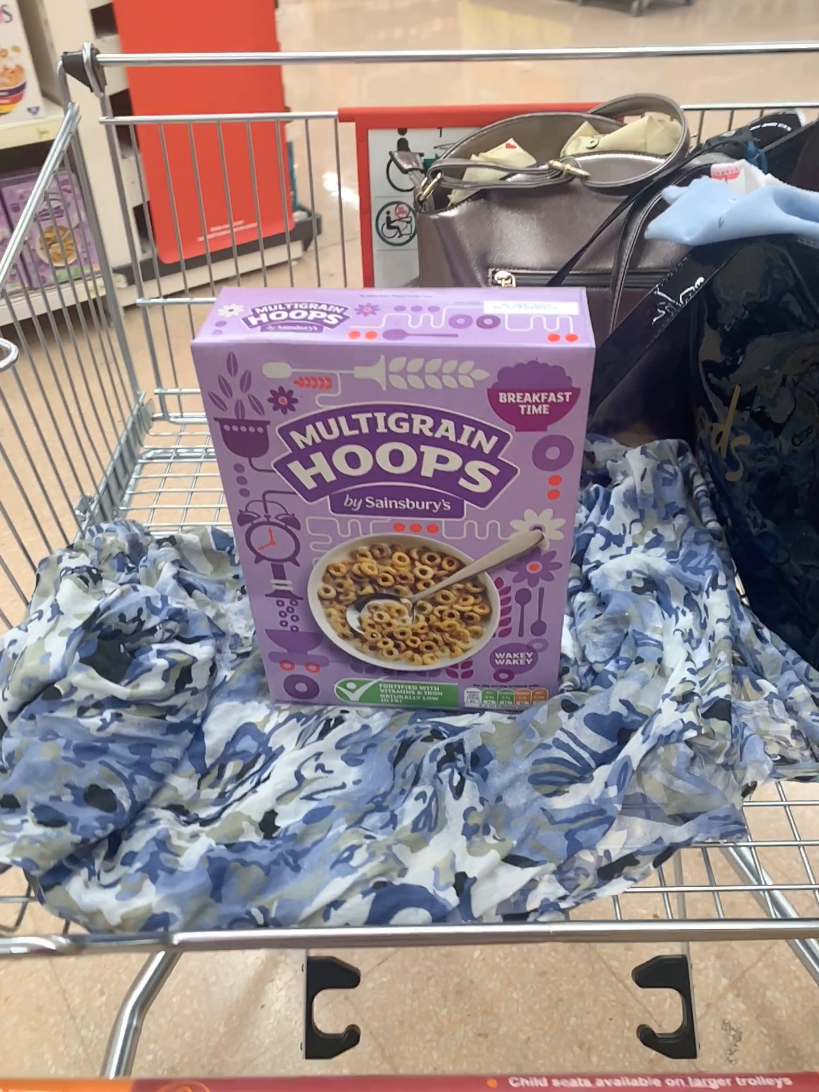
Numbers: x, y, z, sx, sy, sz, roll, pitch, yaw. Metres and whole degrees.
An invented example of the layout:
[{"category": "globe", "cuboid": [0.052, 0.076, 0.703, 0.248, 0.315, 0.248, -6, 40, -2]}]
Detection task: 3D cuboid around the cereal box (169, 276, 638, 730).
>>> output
[{"category": "cereal box", "cuboid": [0.002, -0.011, 0.485, 0.210, 0.267, 0.071, 2, 40, 5]}]
